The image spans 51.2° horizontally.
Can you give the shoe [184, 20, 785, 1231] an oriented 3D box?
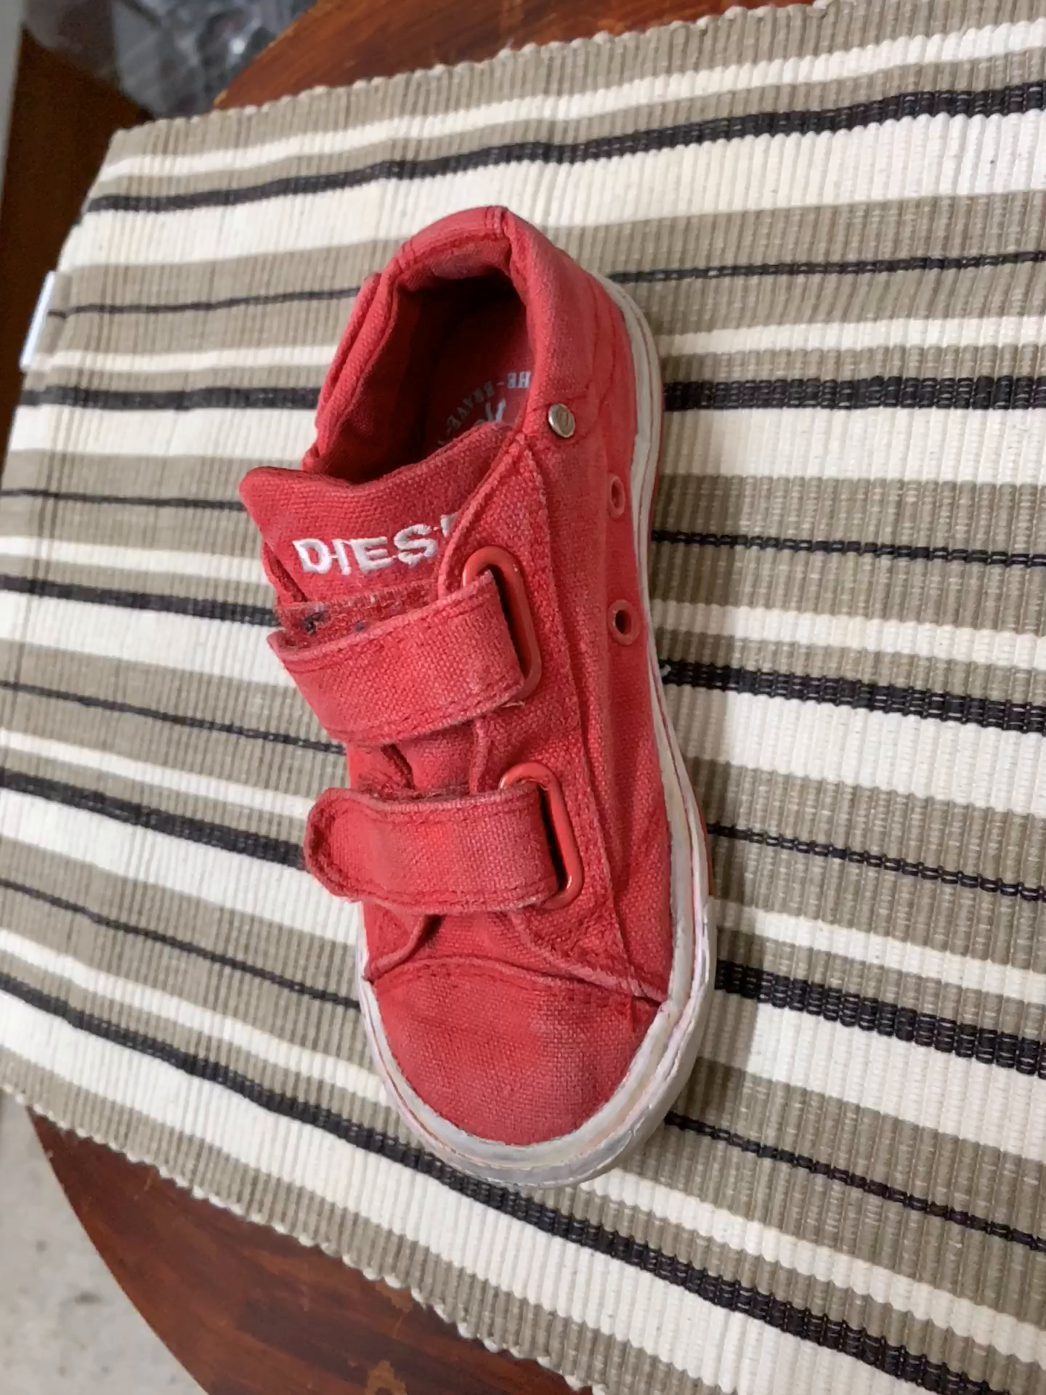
[{"bbox_3d":[-0.004,-0.010,0.201,0.080,0.070,0.170,-4,82,29],"label":"shoe"}]
